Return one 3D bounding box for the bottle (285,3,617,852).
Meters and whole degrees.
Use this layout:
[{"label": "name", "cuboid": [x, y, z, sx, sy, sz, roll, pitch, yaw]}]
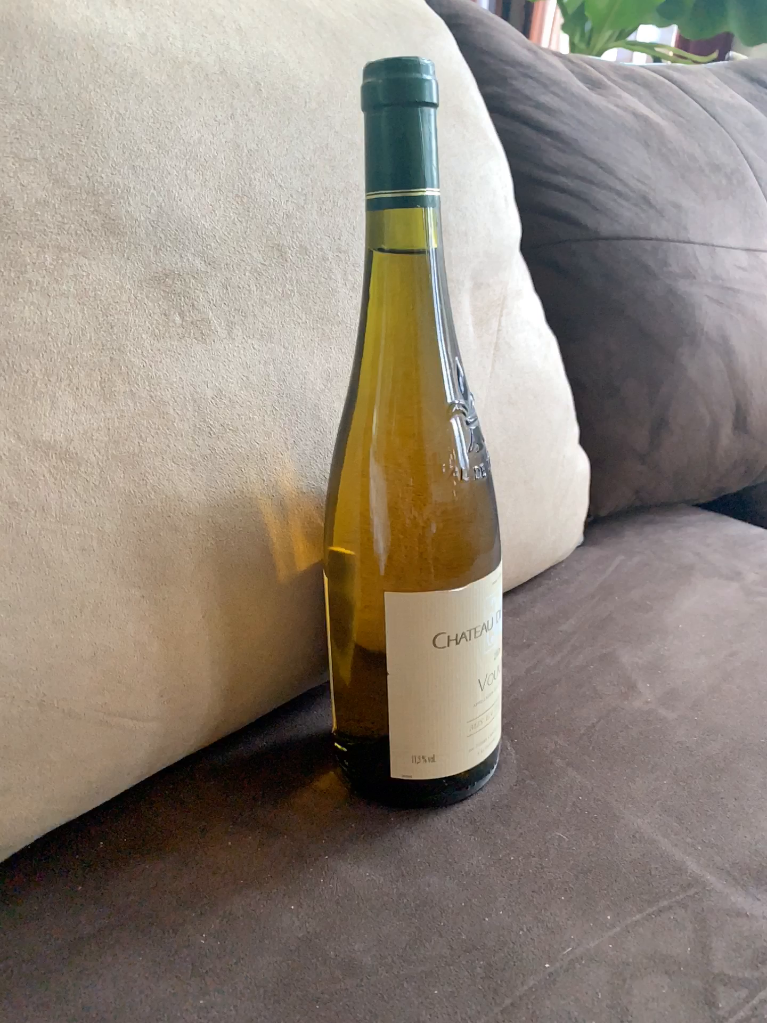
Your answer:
[{"label": "bottle", "cuboid": [0.023, -0.024, 0.338, 0.090, 0.309, 0.100, 11, 23, 21]}]
